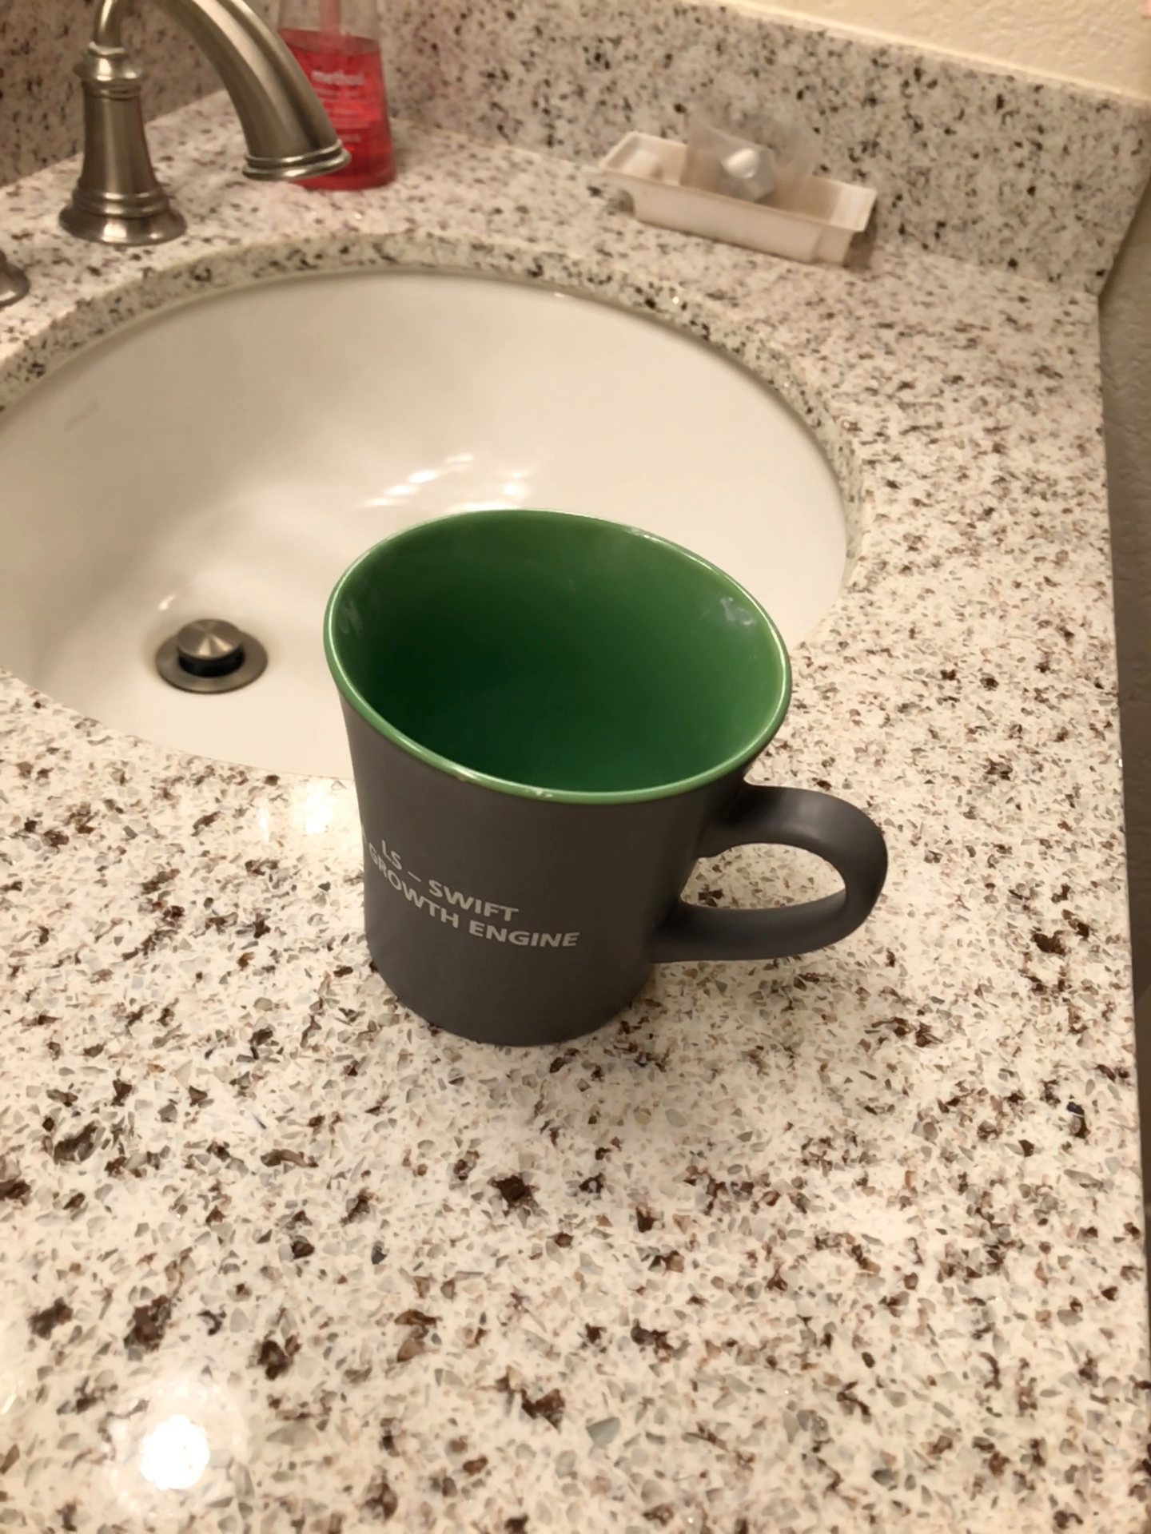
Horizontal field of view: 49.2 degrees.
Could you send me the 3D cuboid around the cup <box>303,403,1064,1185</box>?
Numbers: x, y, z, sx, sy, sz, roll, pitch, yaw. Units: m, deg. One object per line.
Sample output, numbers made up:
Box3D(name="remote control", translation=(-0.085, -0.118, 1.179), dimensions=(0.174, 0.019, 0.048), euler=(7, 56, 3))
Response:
Box3D(name="cup", translation=(0.022, 0.002, 0.306), dimensions=(0.140, 0.109, 0.101), euler=(22, 43, 12))
